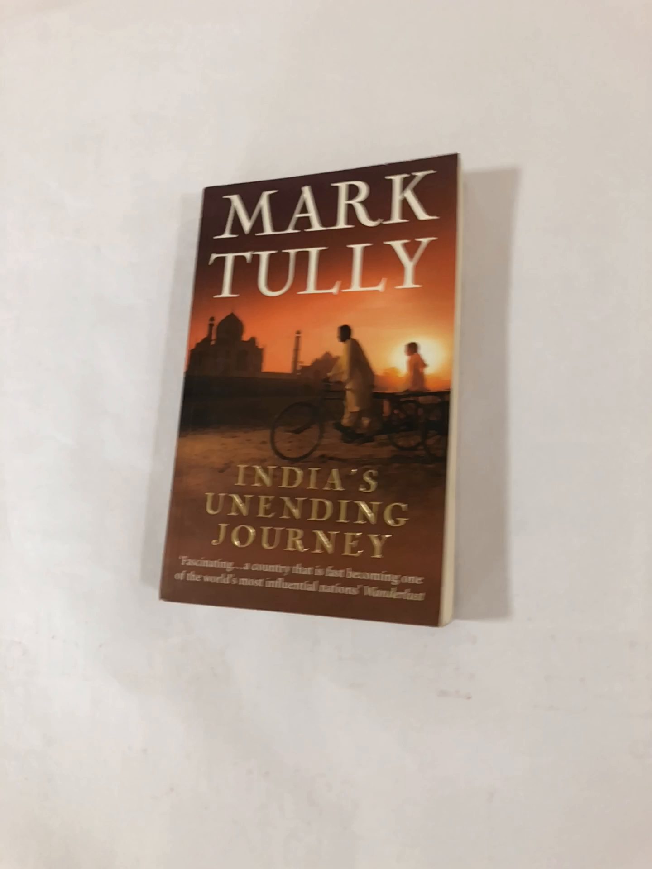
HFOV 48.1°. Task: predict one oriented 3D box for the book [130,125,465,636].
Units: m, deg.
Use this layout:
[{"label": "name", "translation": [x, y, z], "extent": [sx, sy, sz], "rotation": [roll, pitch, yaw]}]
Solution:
[{"label": "book", "translation": [-0.009, -0.026, 0.322], "extent": [0.130, 0.030, 0.210], "rotation": [0, 78, 17]}]
